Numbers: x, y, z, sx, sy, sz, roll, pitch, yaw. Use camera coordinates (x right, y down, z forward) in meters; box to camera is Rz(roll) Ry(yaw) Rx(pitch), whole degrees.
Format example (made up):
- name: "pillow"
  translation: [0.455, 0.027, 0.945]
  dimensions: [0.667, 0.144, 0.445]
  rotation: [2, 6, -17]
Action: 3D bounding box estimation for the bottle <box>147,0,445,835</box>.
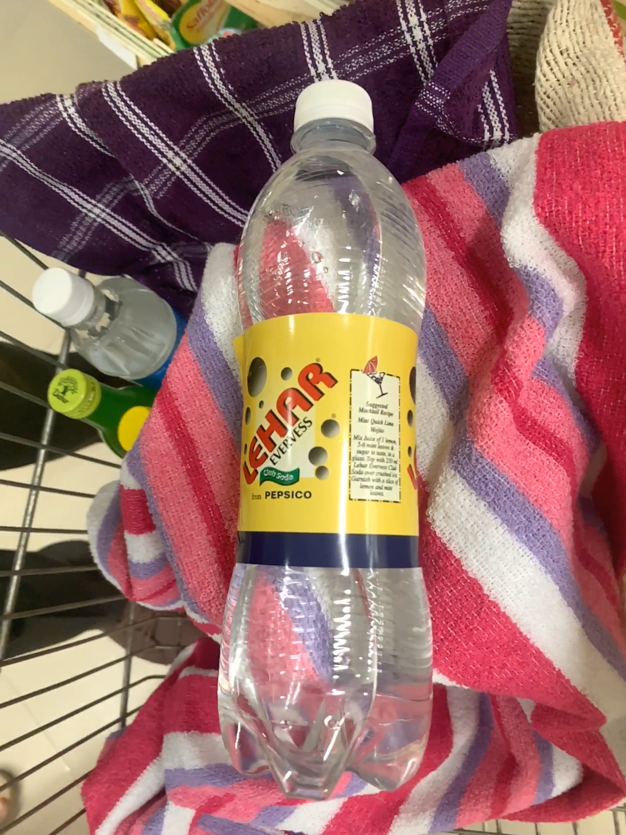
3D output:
- name: "bottle"
  translation: [0.002, -0.010, 0.218]
  dimensions: [0.070, 0.070, 0.240]
  rotation: [-3, 78, 19]
